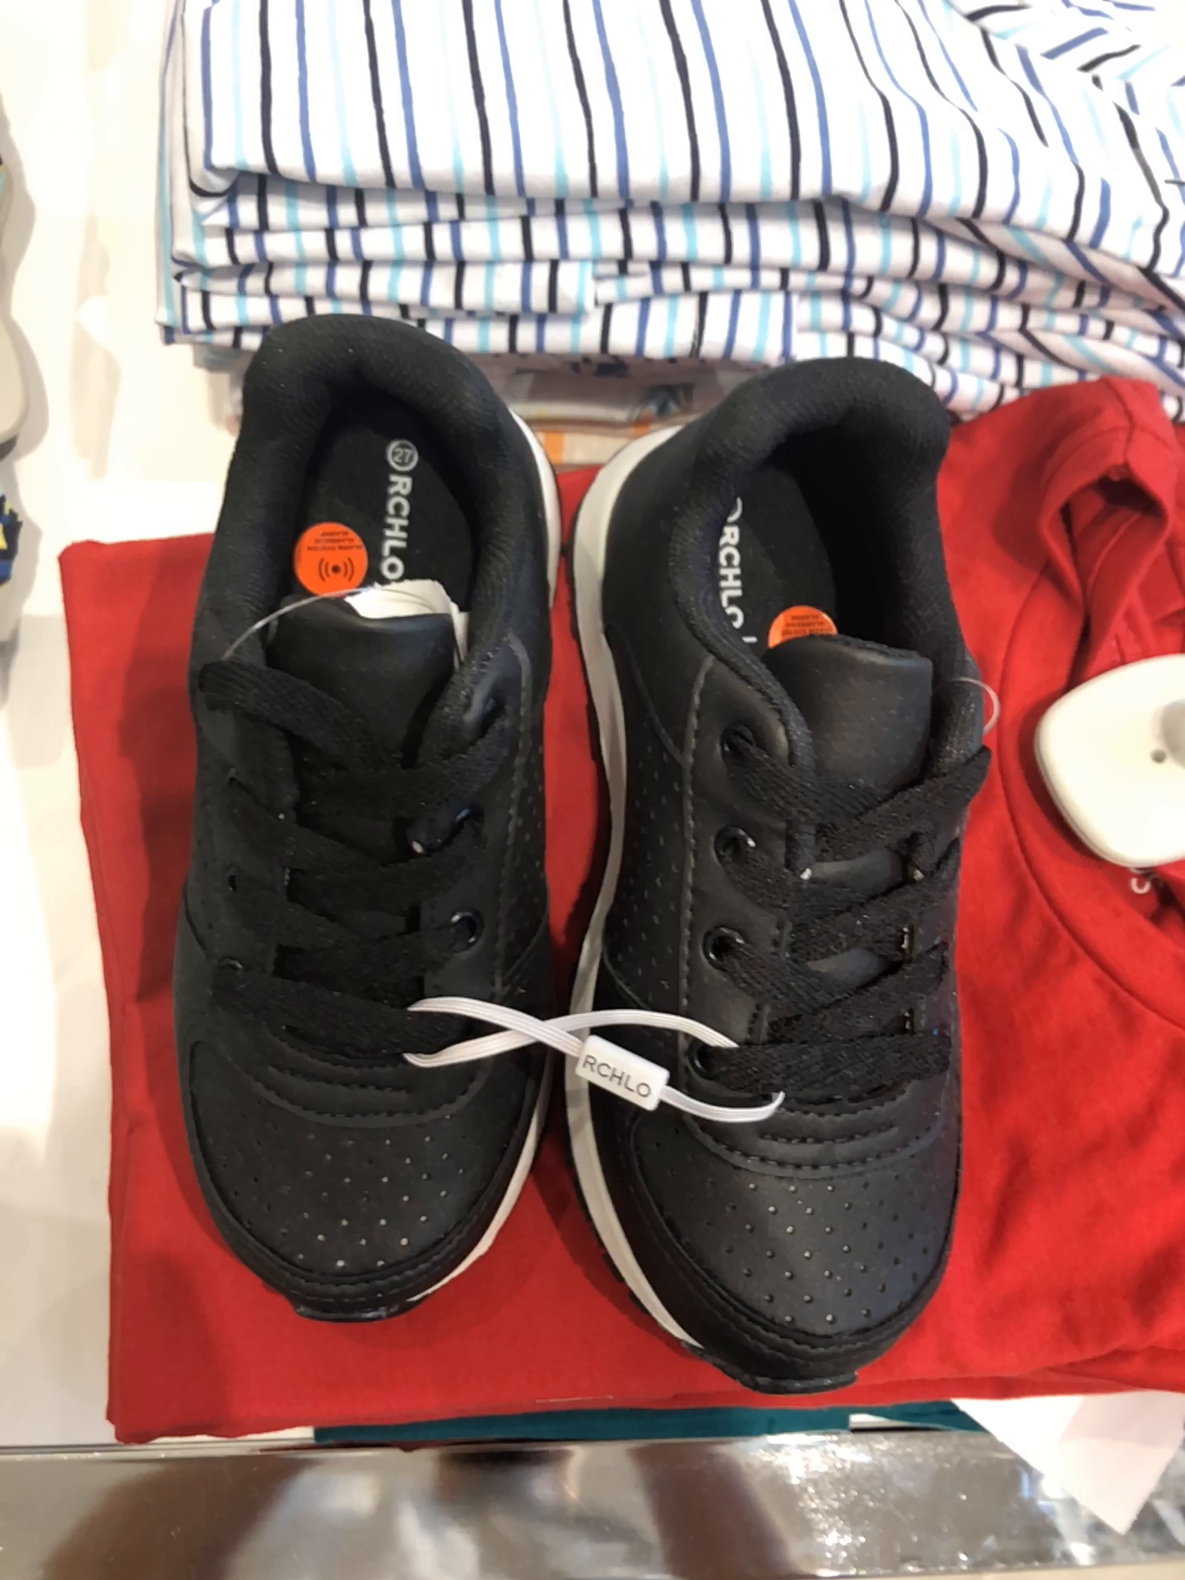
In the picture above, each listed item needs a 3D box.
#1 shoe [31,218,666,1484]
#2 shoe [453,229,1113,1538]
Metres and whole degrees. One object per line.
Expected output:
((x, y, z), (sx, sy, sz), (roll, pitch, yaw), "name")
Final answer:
((-0.039, 0.010, 0.234), (0.080, 0.080, 0.180), (4, 83, -10), "shoe")
((0.023, 0.013, 0.243), (0.080, 0.086, 0.190), (0, 80, -14), "shoe")
